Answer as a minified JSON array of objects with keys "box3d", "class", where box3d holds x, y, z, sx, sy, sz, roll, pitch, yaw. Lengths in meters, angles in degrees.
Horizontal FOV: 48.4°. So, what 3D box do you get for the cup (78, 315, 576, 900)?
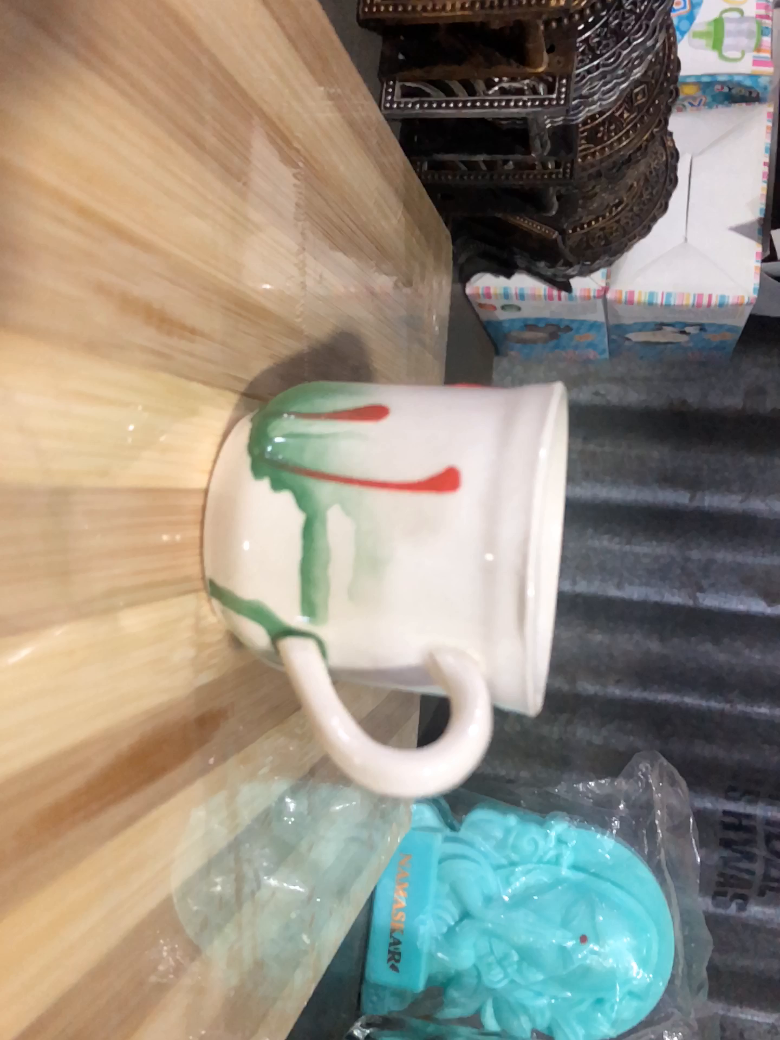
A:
[{"box3d":[-0.001,0.019,0.186,0.080,0.070,0.090,79,20,-53],"class":"cup"}]
